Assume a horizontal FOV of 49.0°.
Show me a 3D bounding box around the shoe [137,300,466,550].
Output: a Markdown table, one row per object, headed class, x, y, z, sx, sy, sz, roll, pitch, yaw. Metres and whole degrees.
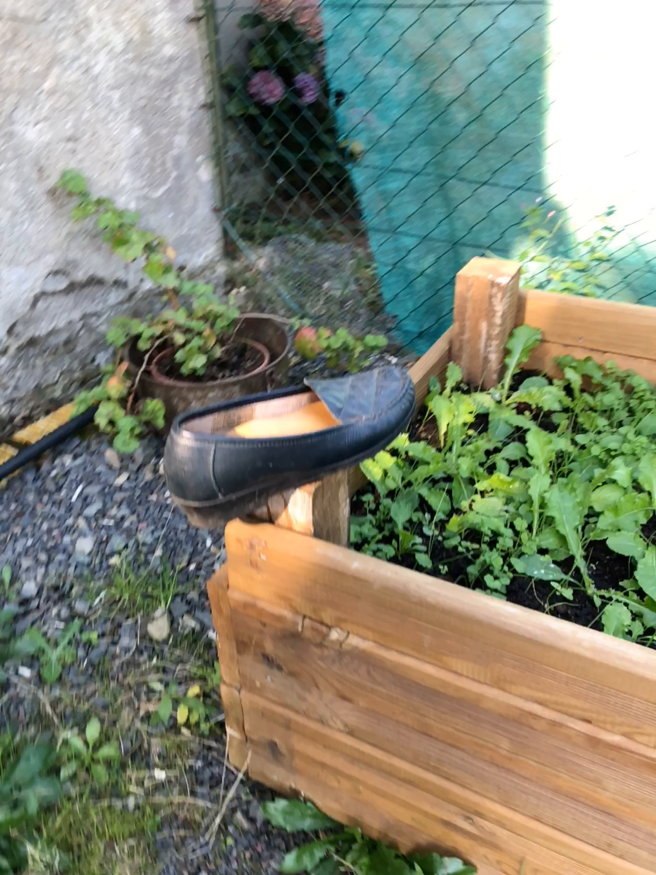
| class | x | y | z | sx | sy | sz | roll | pitch | yaw |
| --- | --- | --- | --- | --- | --- | --- | --- | --- | --- |
| shoe | -0.013 | -0.022 | 0.619 | 0.261 | 0.089 | 0.100 | -25 | 39 | -25 |
